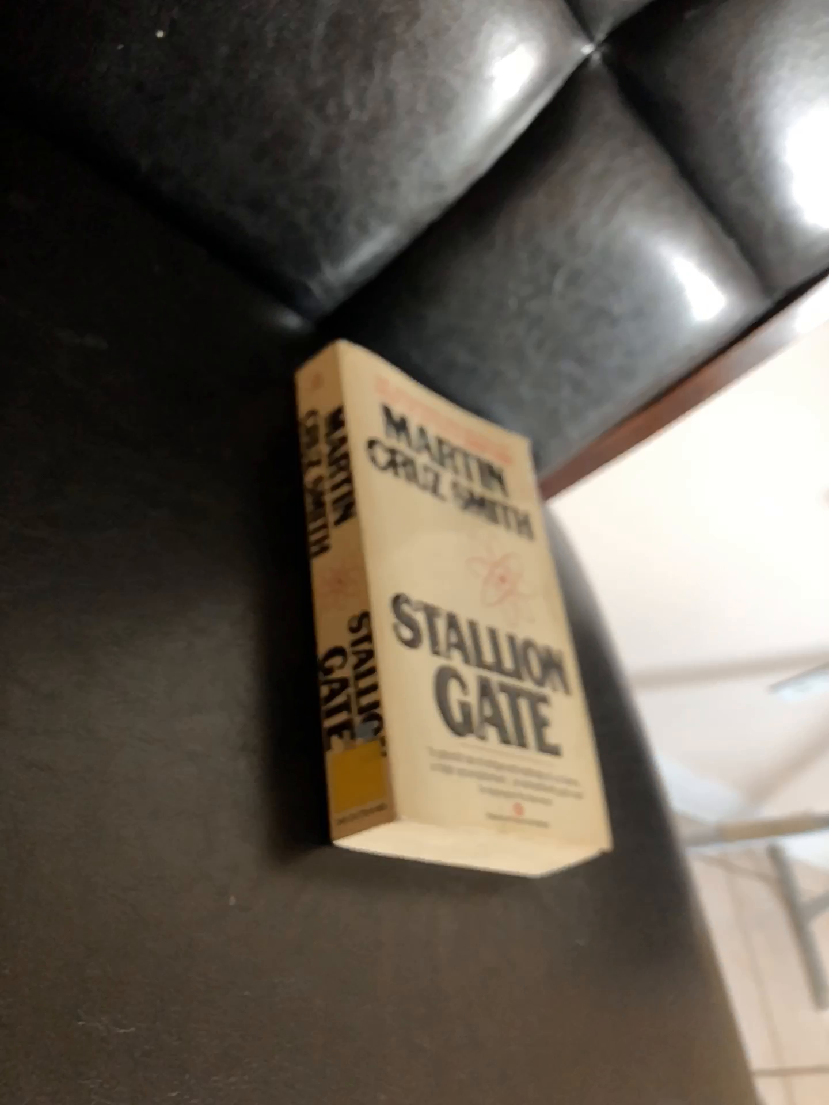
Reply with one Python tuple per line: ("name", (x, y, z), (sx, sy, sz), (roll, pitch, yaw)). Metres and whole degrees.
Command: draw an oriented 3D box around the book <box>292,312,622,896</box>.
("book", (0.012, 0.017, 0.339), (0.111, 0.030, 0.190), (27, 44, -44))
